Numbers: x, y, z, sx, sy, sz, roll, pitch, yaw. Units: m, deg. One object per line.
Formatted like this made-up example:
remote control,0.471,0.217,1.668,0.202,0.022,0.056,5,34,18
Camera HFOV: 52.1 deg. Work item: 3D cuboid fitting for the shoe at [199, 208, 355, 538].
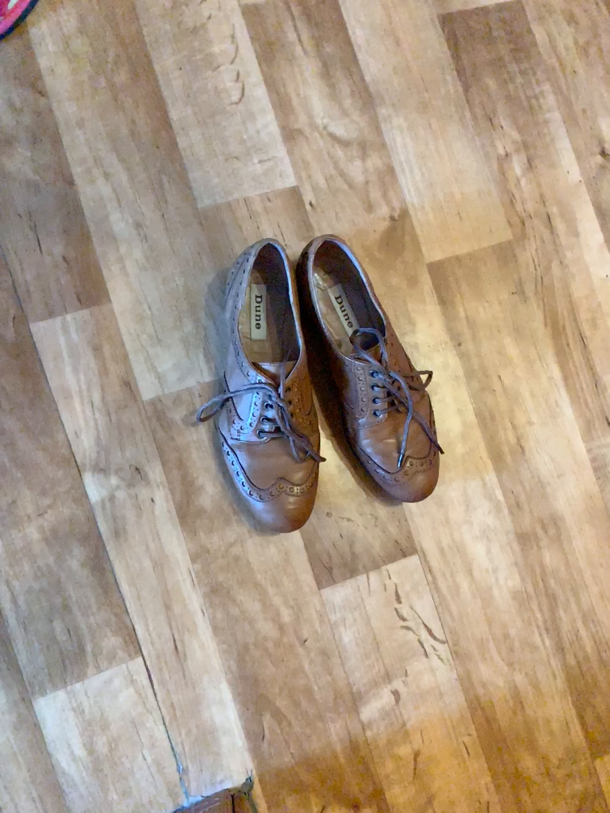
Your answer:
shoe,-0.031,-0.023,0.520,0.090,0.120,0.240,-6,85,-10

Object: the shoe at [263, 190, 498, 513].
shoe,0.053,-0.037,0.521,0.080,0.120,0.230,-23,88,-11
